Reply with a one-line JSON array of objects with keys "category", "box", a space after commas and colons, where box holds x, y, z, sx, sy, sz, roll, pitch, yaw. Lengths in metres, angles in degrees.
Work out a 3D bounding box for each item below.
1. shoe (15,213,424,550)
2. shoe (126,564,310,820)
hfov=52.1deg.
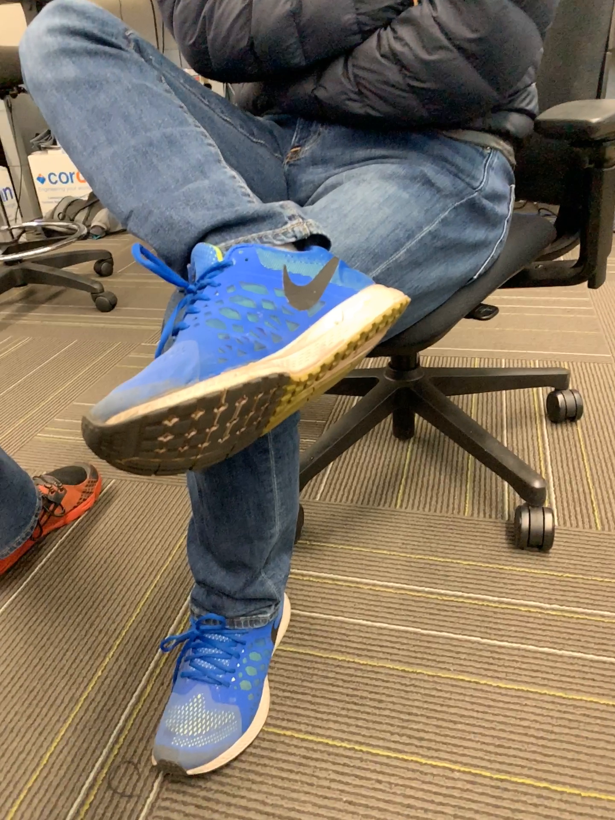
[{"category": "shoe", "box": [-0.051, -0.039, 0.460, 0.103, 0.116, 0.276, 41, 47, 20]}, {"category": "shoe", "box": [-0.090, 0.325, 0.764, 0.101, 0.086, 0.285, 6, 31, 17]}]
